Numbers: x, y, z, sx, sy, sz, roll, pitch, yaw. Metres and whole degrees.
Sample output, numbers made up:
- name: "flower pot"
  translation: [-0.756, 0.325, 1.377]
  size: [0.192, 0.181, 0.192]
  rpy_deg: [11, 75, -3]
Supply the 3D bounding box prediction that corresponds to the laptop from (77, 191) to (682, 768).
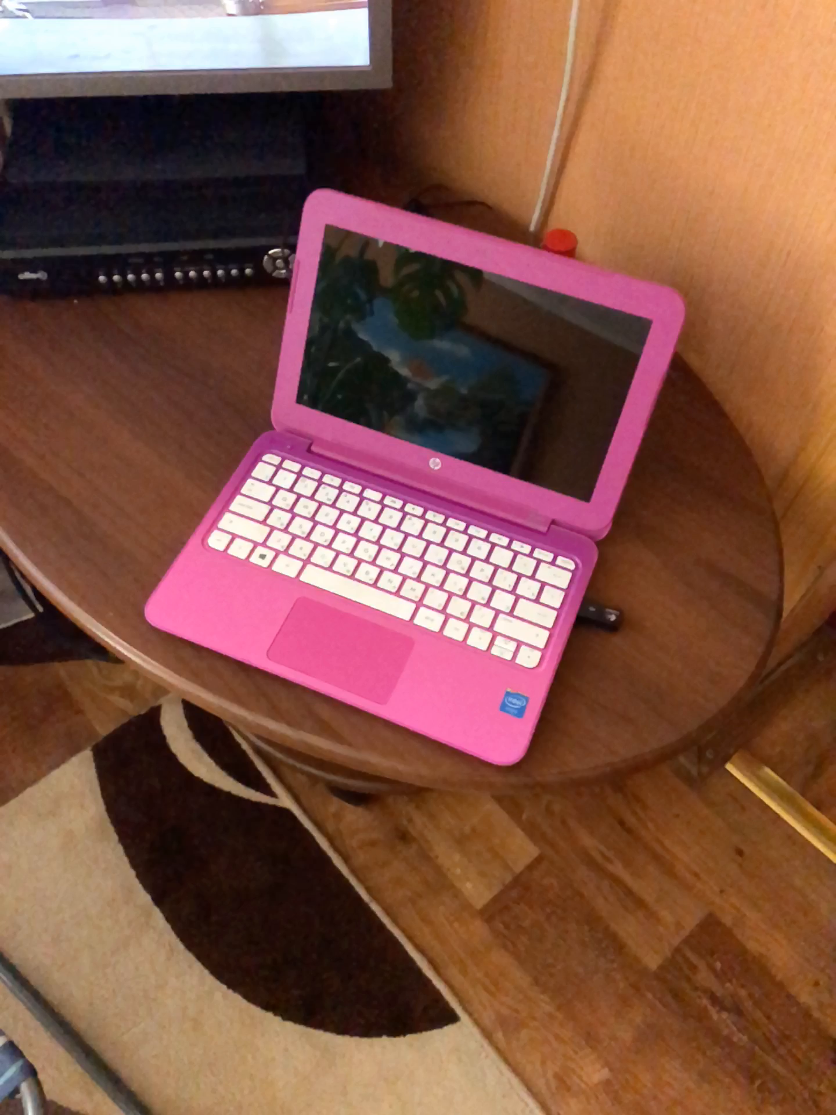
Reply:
- name: "laptop"
  translation: [-0.009, -0.066, 0.633]
  size: [0.279, 0.150, 0.296]
  rpy_deg: [20, 59, 11]
